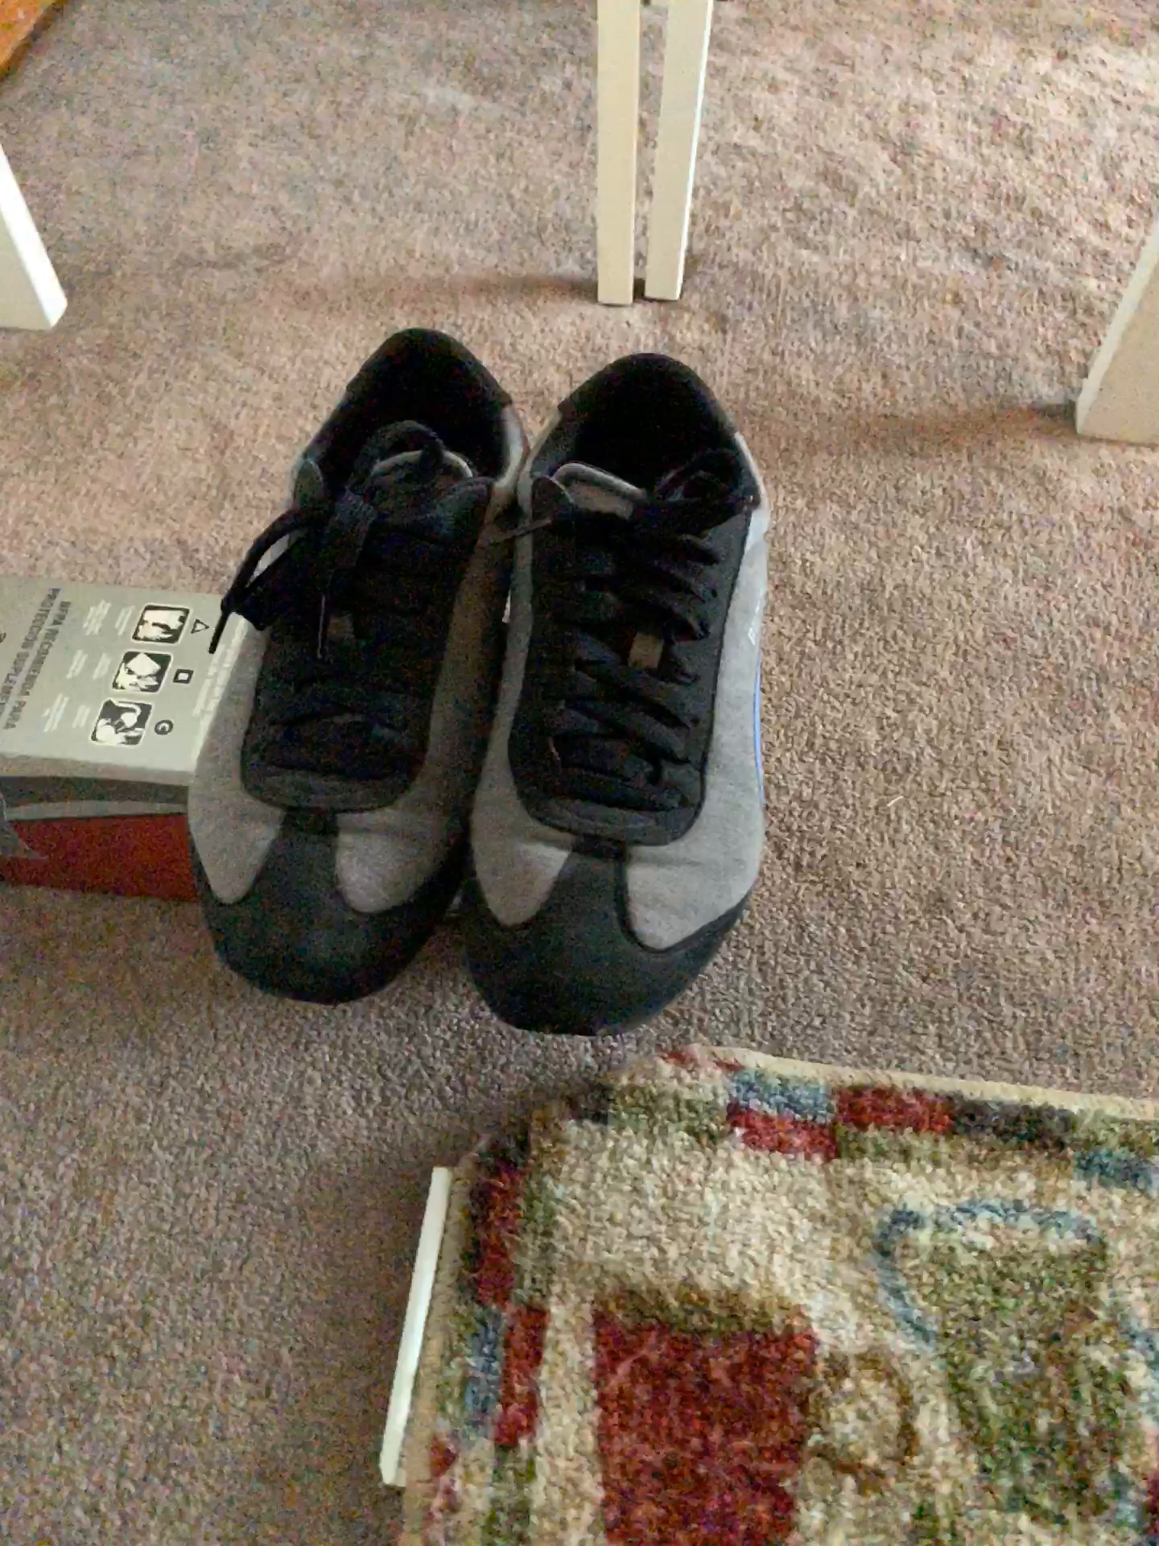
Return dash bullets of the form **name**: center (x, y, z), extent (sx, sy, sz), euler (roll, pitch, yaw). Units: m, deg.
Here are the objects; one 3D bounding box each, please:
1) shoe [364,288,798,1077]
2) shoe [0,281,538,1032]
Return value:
- **shoe**: center (0.012, -0.039, 0.392), extent (0.100, 0.099, 0.242), euler (5, 57, 4)
- **shoe**: center (-0.081, -0.047, 0.388), extent (0.100, 0.089, 0.232), euler (5, 57, 4)
